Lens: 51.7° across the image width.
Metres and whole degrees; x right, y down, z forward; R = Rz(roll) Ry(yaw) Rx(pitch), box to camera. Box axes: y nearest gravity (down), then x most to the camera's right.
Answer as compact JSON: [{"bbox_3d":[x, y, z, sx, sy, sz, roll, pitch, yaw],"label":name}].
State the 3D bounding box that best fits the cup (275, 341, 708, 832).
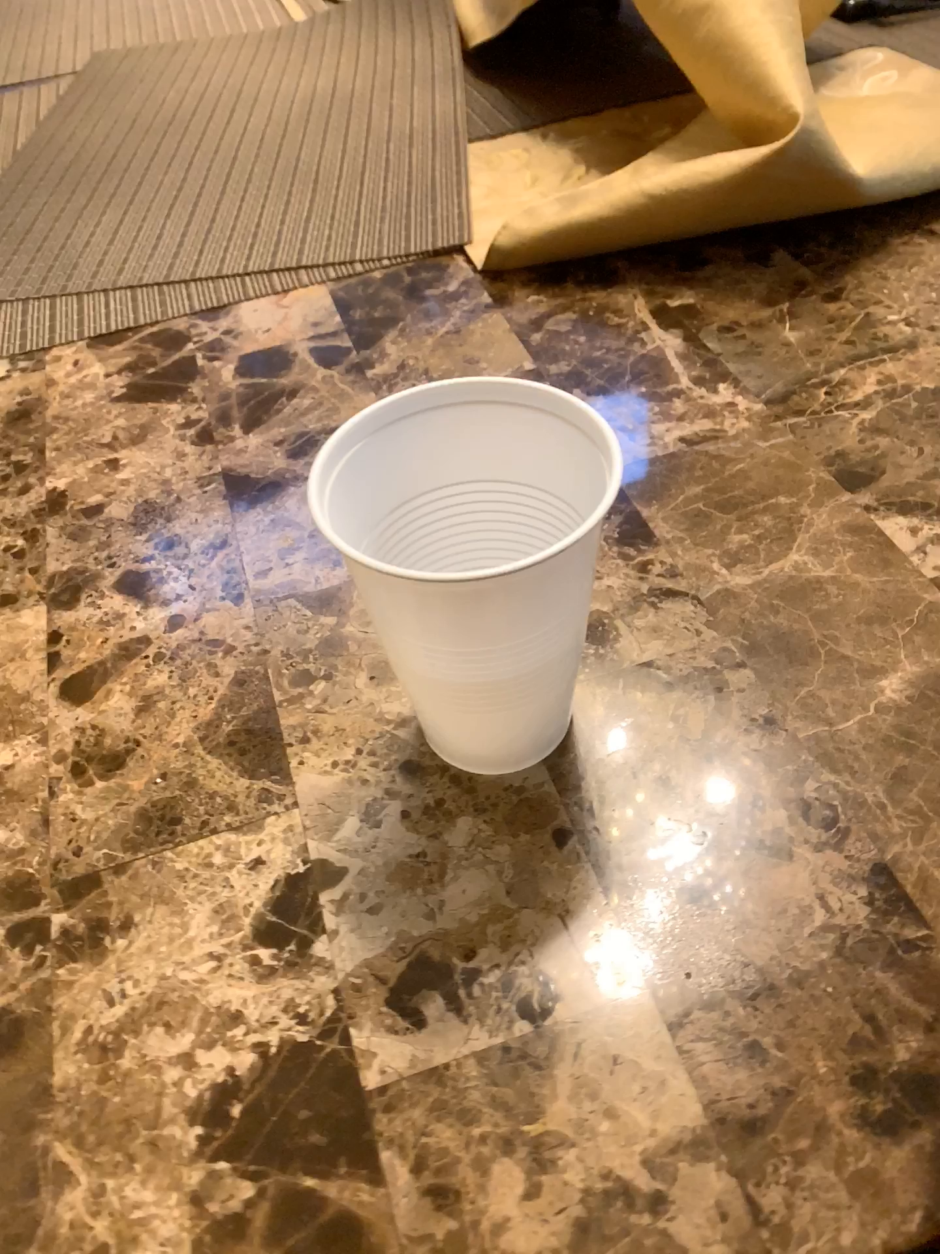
[{"bbox_3d":[0.006,-0.013,0.269,0.081,0.083,0.078,-4,46,4],"label":"cup"}]
